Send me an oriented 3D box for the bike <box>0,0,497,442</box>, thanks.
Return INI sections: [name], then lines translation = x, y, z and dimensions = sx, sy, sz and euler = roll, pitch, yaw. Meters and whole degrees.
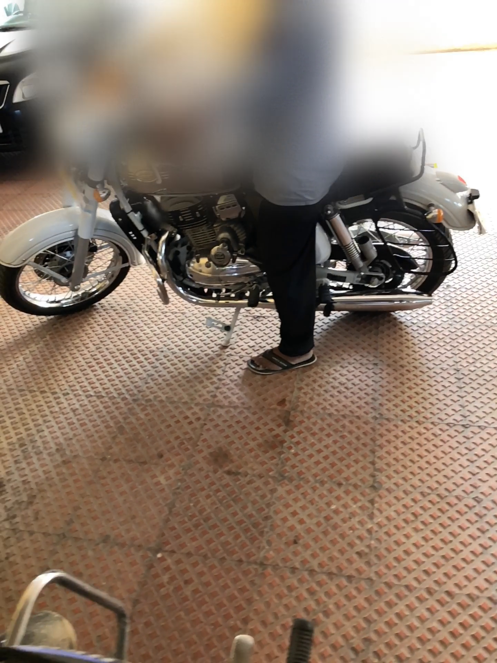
[bike]
translation = -0.172, -0.387, 1.950
dimensions = 1.897, 1.233, 0.849
euler = -2, 35, 4
